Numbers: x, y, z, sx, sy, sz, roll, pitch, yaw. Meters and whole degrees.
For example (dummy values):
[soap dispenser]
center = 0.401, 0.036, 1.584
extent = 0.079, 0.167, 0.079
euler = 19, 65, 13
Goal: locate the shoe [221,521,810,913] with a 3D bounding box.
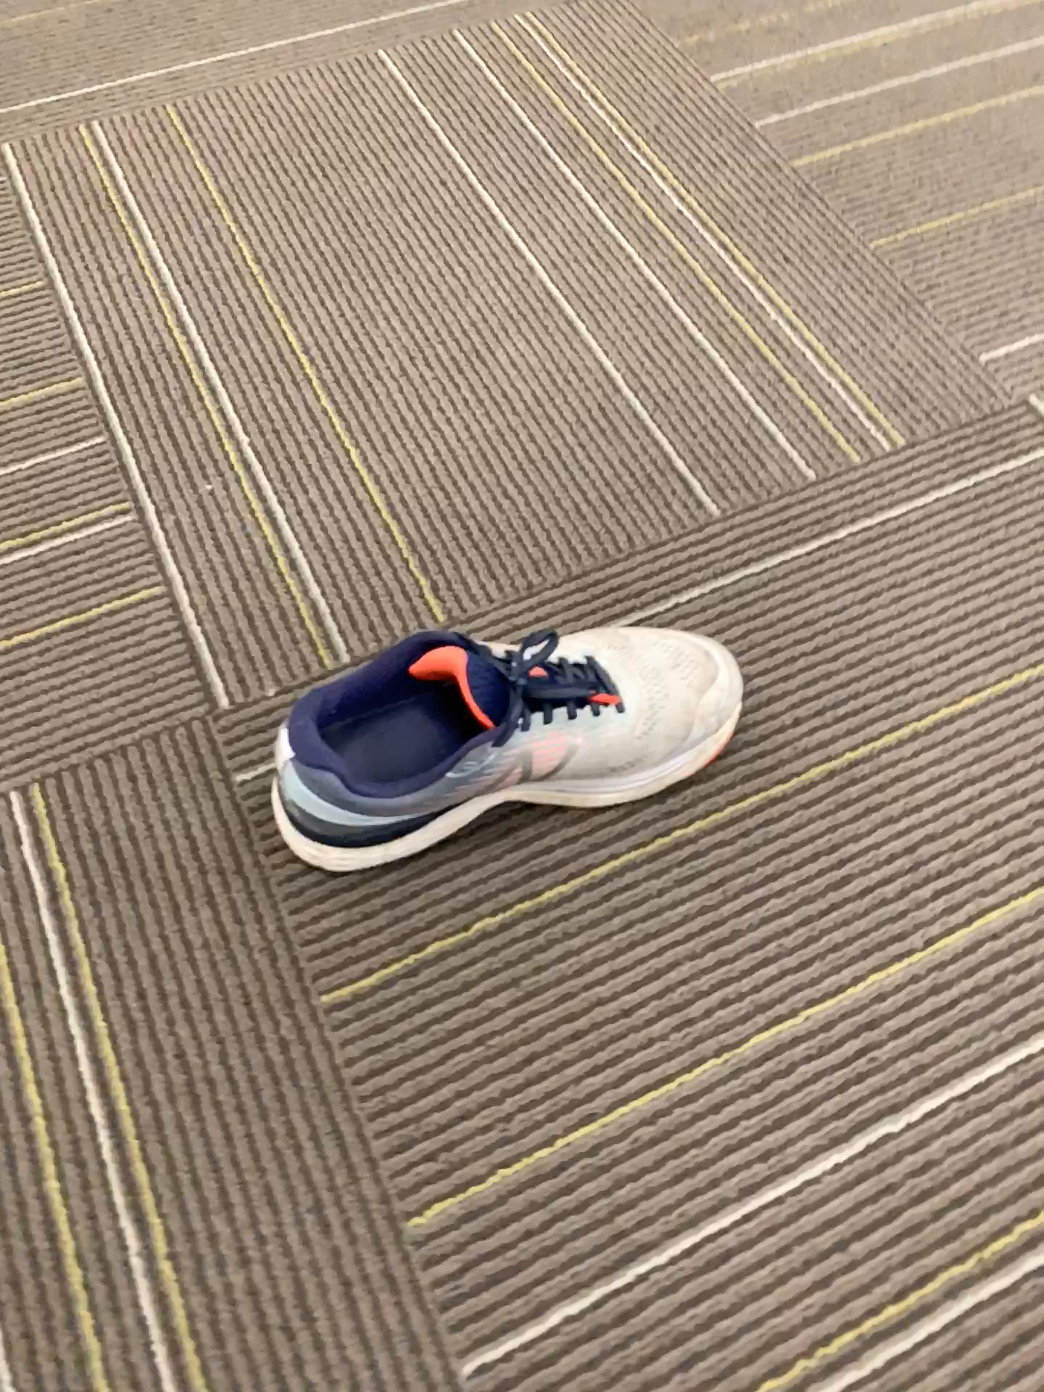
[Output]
[shoe]
center = -0.006, 0.008, 0.603
extent = 0.290, 0.080, 0.130
euler = -15, 61, -10
